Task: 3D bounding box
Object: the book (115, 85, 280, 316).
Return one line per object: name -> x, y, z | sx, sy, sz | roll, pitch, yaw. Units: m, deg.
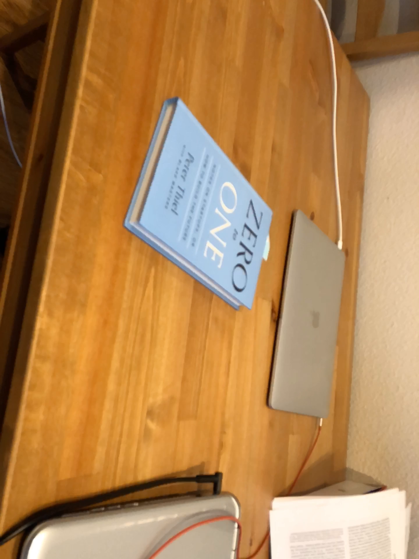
book -> 0.004, -0.069, 0.491 | 0.211, 0.030, 0.150 | 38, 60, -48
